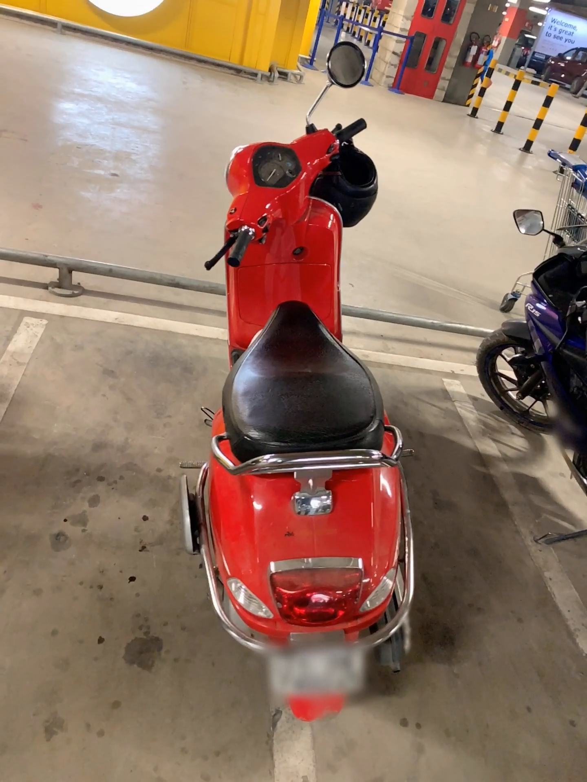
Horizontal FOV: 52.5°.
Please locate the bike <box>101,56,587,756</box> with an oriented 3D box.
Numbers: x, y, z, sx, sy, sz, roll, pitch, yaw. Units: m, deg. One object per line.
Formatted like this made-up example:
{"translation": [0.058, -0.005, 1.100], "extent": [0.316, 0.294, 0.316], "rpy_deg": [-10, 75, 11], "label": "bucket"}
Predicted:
{"translation": [-0.160, -0.115, 1.756], "extent": [0.632, 1.201, 1.686], "rpy_deg": [4, 35, -17], "label": "bike"}
